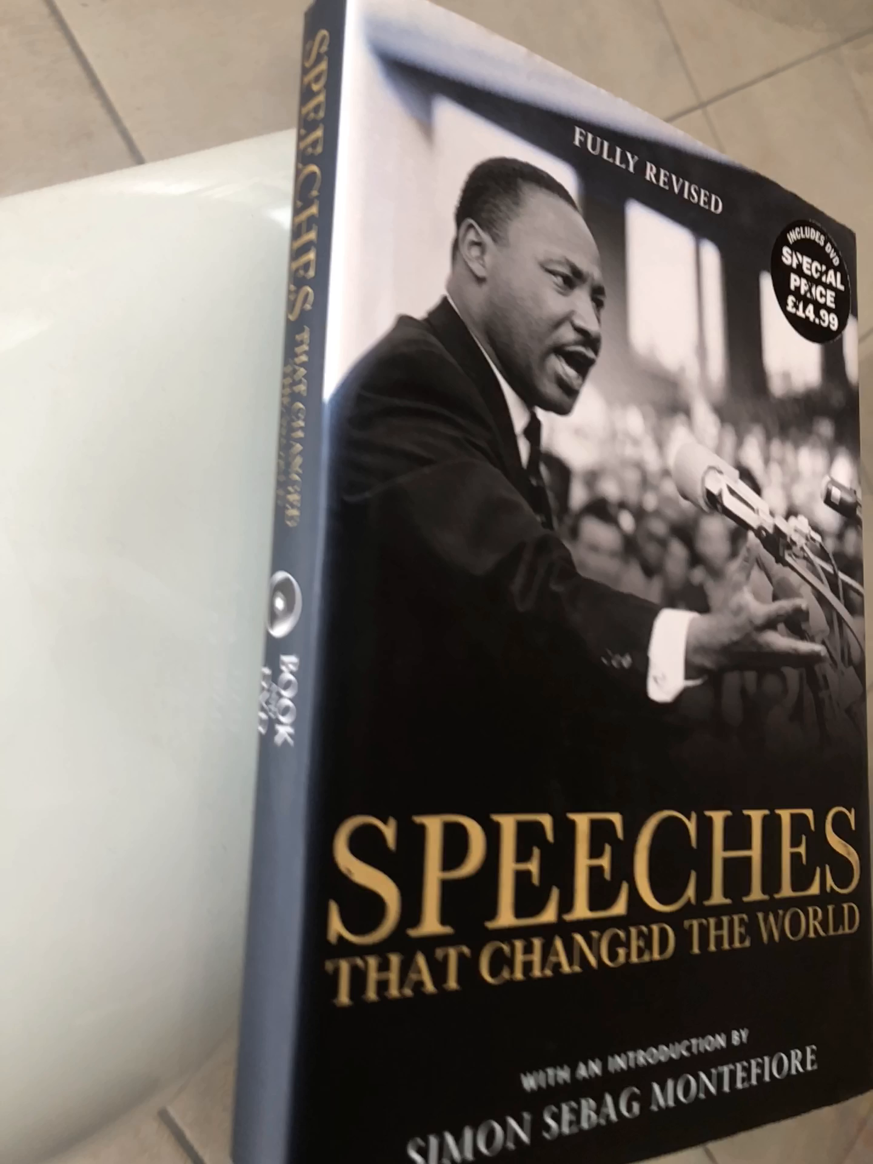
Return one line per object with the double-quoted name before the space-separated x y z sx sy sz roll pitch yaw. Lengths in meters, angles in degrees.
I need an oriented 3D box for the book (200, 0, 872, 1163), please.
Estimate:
"book" 0.053 0.000 0.264 0.211 0.040 0.290 8 78 -34
